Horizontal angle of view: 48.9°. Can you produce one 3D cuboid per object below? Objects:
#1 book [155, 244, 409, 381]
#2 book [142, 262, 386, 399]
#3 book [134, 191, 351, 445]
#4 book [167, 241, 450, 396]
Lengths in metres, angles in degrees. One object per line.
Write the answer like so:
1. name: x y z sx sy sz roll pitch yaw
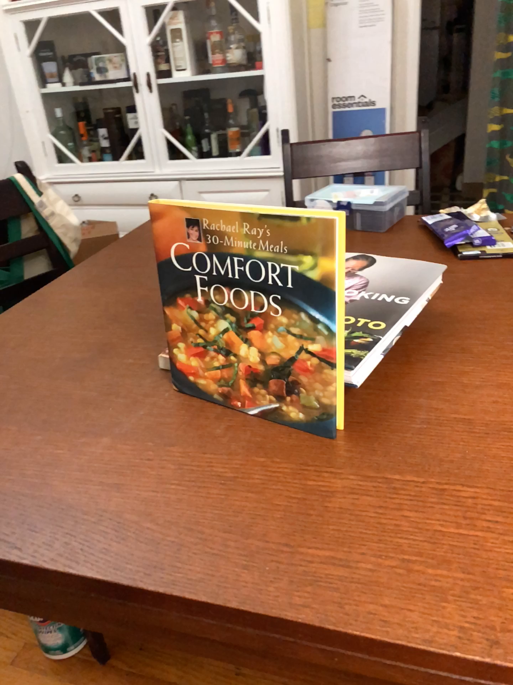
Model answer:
1. book: 0.046 -0.055 0.707 0.220 0.030 0.281 8 32 26
2. book: 0.025 -0.034 0.729 0.220 0.030 0.281 7 31 24
3. book: -0.014 -0.028 0.535 0.210 0.209 0.030 14 31 32
4. book: 0.073 -0.048 0.654 0.220 0.030 0.281 11 33 30
